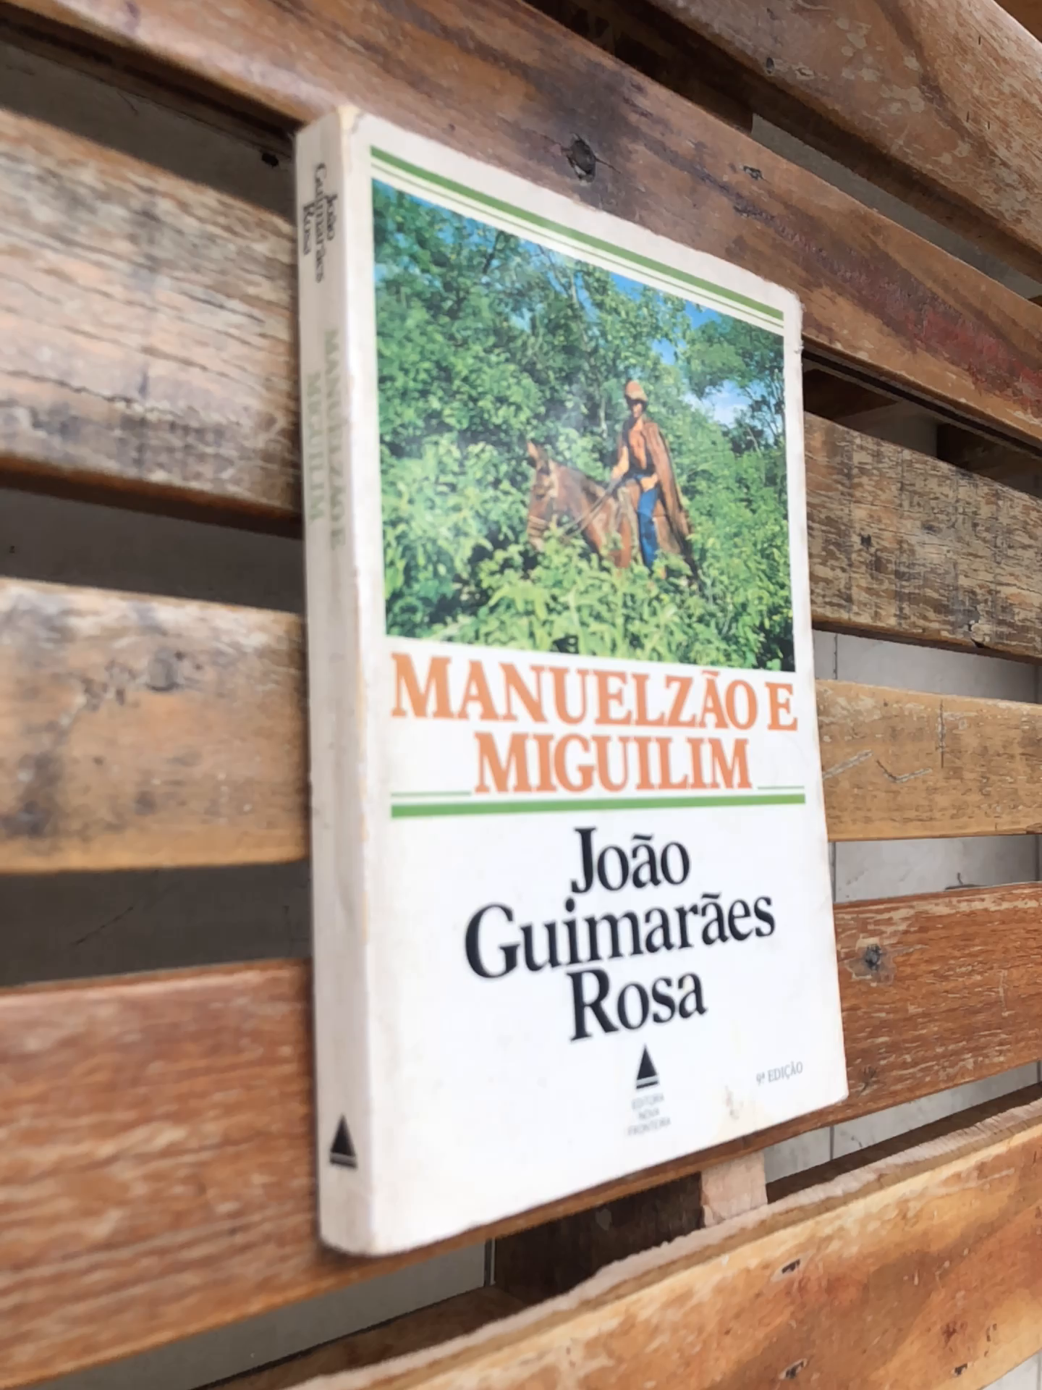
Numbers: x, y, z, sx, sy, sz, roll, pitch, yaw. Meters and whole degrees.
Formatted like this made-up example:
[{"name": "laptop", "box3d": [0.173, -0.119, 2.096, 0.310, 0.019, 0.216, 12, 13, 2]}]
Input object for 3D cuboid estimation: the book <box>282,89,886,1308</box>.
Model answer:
[{"name": "book", "box3d": [0.021, -0.002, 0.241, 0.142, 0.020, 0.200, 2, 82, -41]}]
